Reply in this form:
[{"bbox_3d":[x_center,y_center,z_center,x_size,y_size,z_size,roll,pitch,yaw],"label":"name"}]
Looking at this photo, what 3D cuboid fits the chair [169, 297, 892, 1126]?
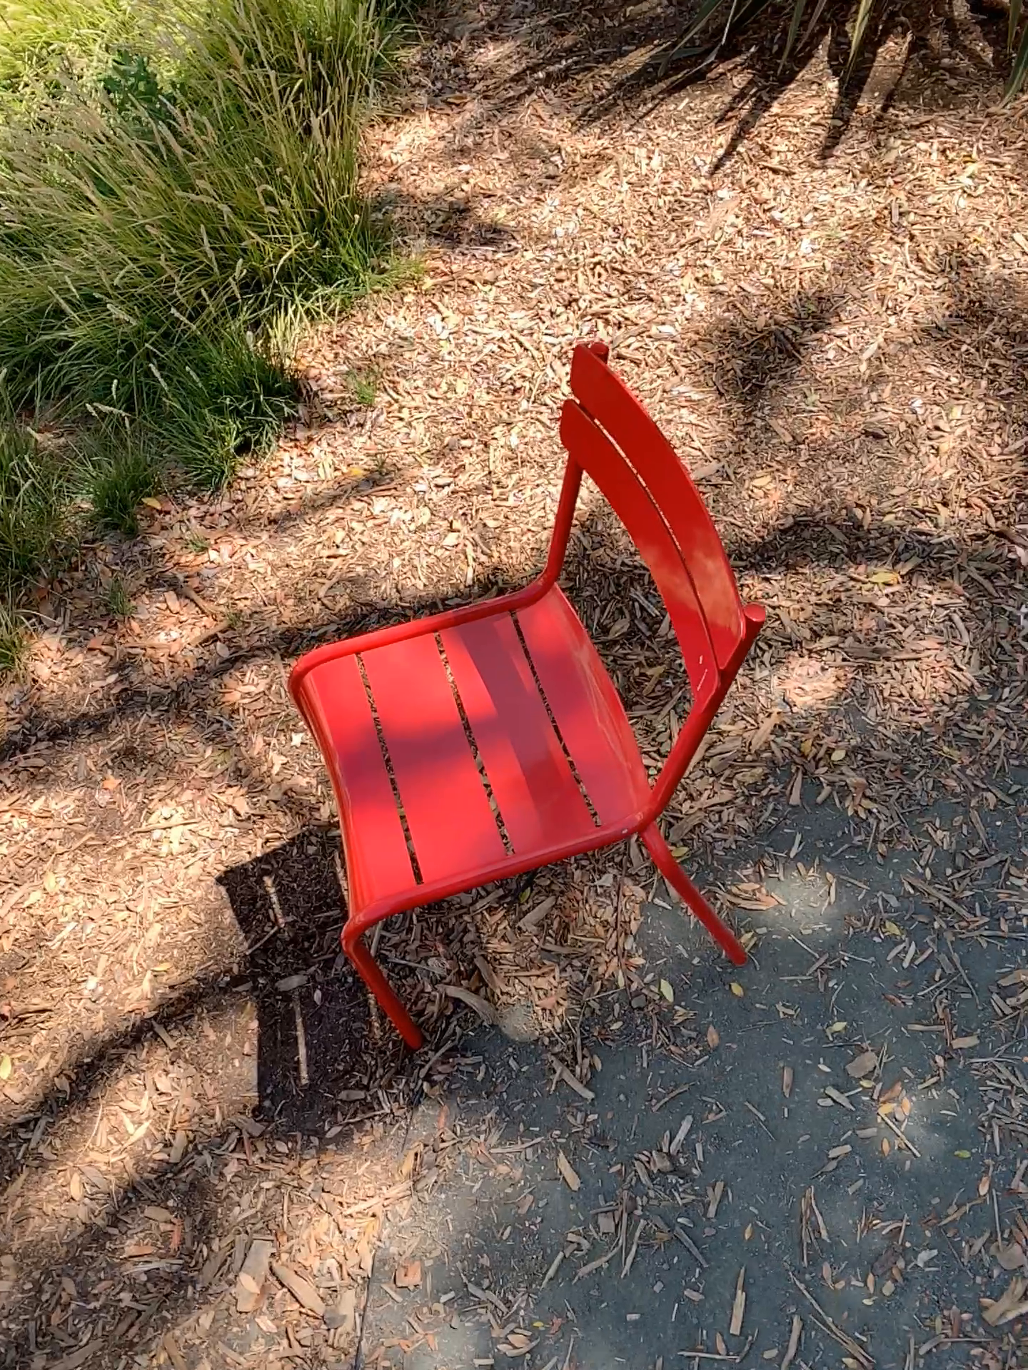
[{"bbox_3d":[-0.017,0.065,1.374,0.570,0.786,0.613,-15,53,-9],"label":"chair"}]
